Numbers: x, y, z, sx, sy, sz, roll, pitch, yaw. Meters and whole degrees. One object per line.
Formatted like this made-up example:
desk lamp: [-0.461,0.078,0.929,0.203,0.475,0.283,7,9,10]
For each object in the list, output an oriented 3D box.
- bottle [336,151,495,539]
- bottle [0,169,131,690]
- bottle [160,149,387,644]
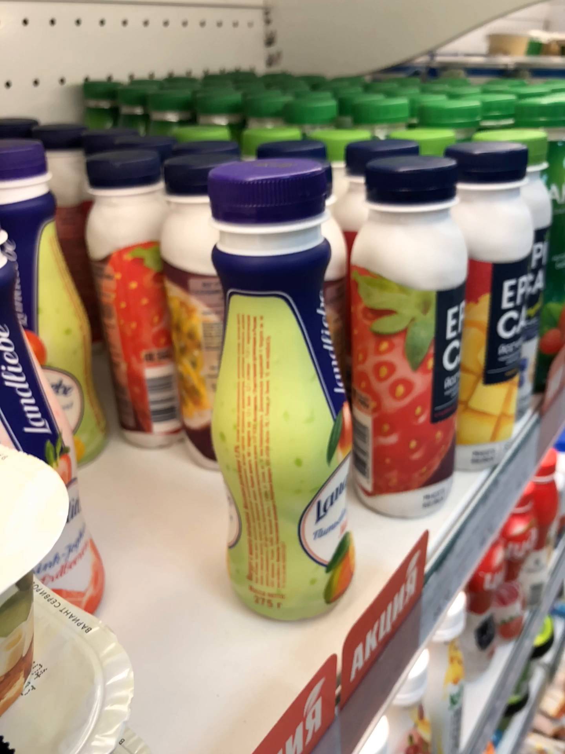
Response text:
bottle: [0.060,-0.013,0.306,0.048,0.172,0.051,-2,27,1]
bottle: [-0.108,0.022,0.235,0.053,0.178,0.057,-2,27,1]
bottle: [0.002,0.010,0.246,0.053,0.177,0.055,-2,27,1]
